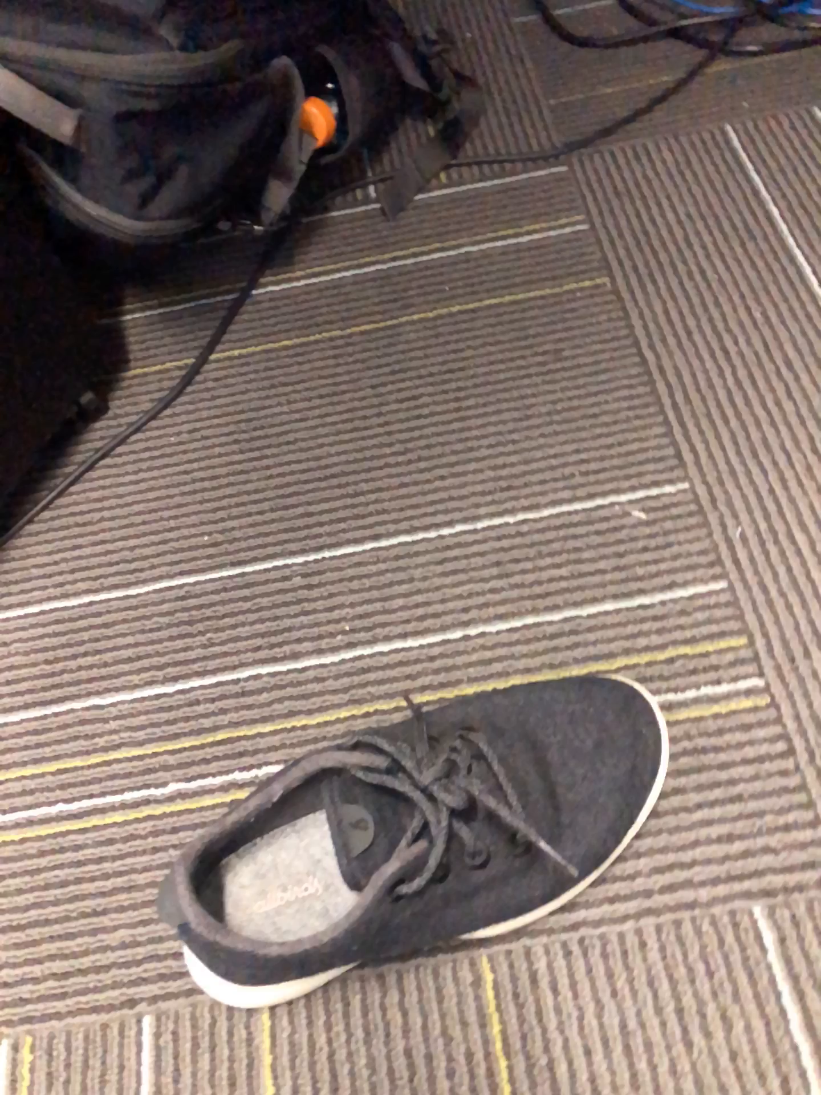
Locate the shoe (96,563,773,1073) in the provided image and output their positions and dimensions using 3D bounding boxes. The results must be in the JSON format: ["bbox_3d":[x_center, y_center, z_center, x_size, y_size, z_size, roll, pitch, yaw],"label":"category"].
[{"bbox_3d":[0.007,0.122,0.422,0.270,0.070,0.120,-22,57,-5],"label":"shoe"}]
